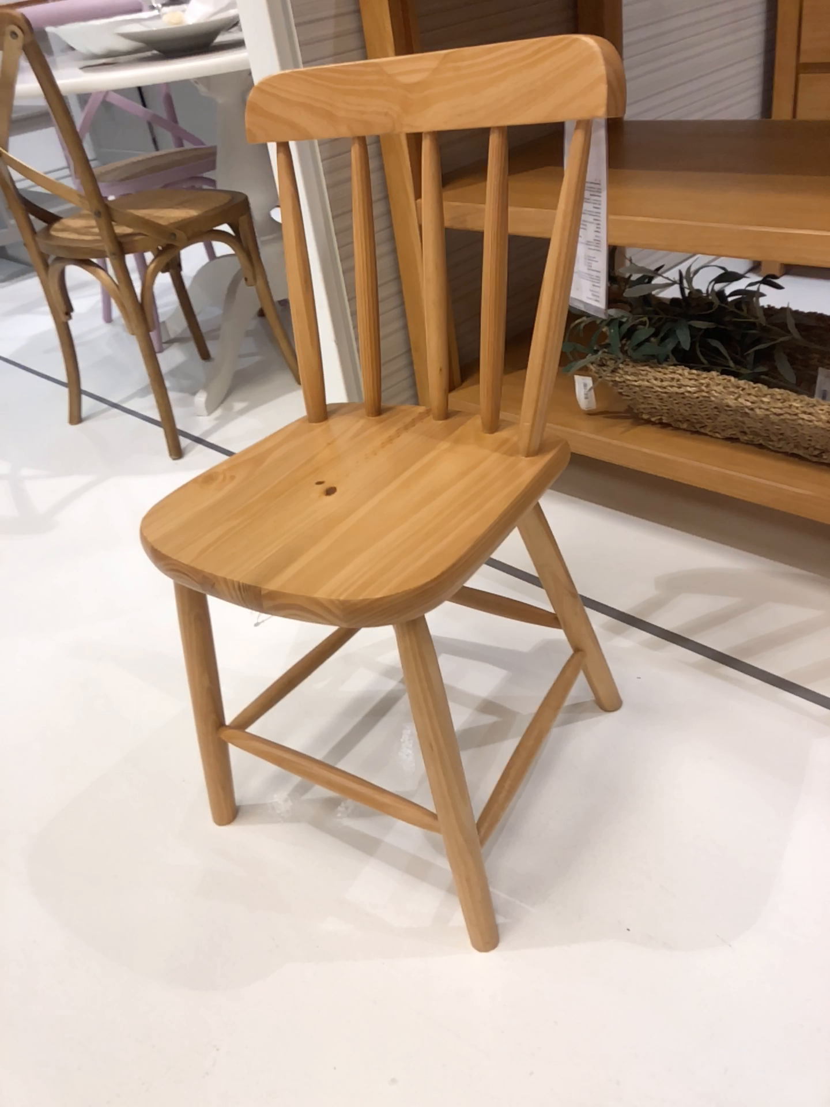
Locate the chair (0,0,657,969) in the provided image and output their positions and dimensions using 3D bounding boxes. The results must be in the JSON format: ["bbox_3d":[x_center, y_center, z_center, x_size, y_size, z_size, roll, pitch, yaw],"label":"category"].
[{"bbox_3d":[-0.042,-0.077,0.924,0.421,0.754,0.452,13,40,32],"label":"chair"}]
